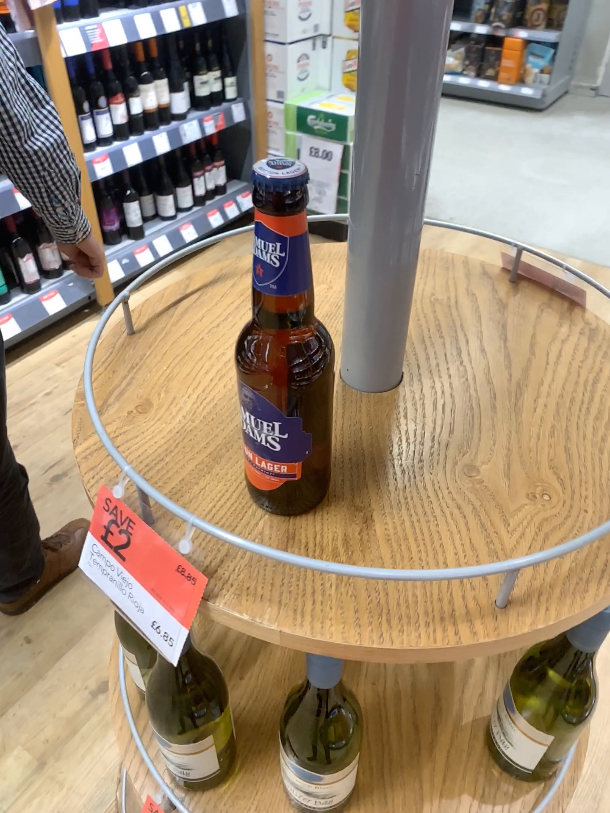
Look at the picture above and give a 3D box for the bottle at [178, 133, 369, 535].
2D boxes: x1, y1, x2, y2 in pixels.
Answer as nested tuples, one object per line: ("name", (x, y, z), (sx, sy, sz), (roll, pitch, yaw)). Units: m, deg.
("bottle", (-0.015, -0.030, 0.351), (0.061, 0.211, 0.063), (0, 40, 0))
